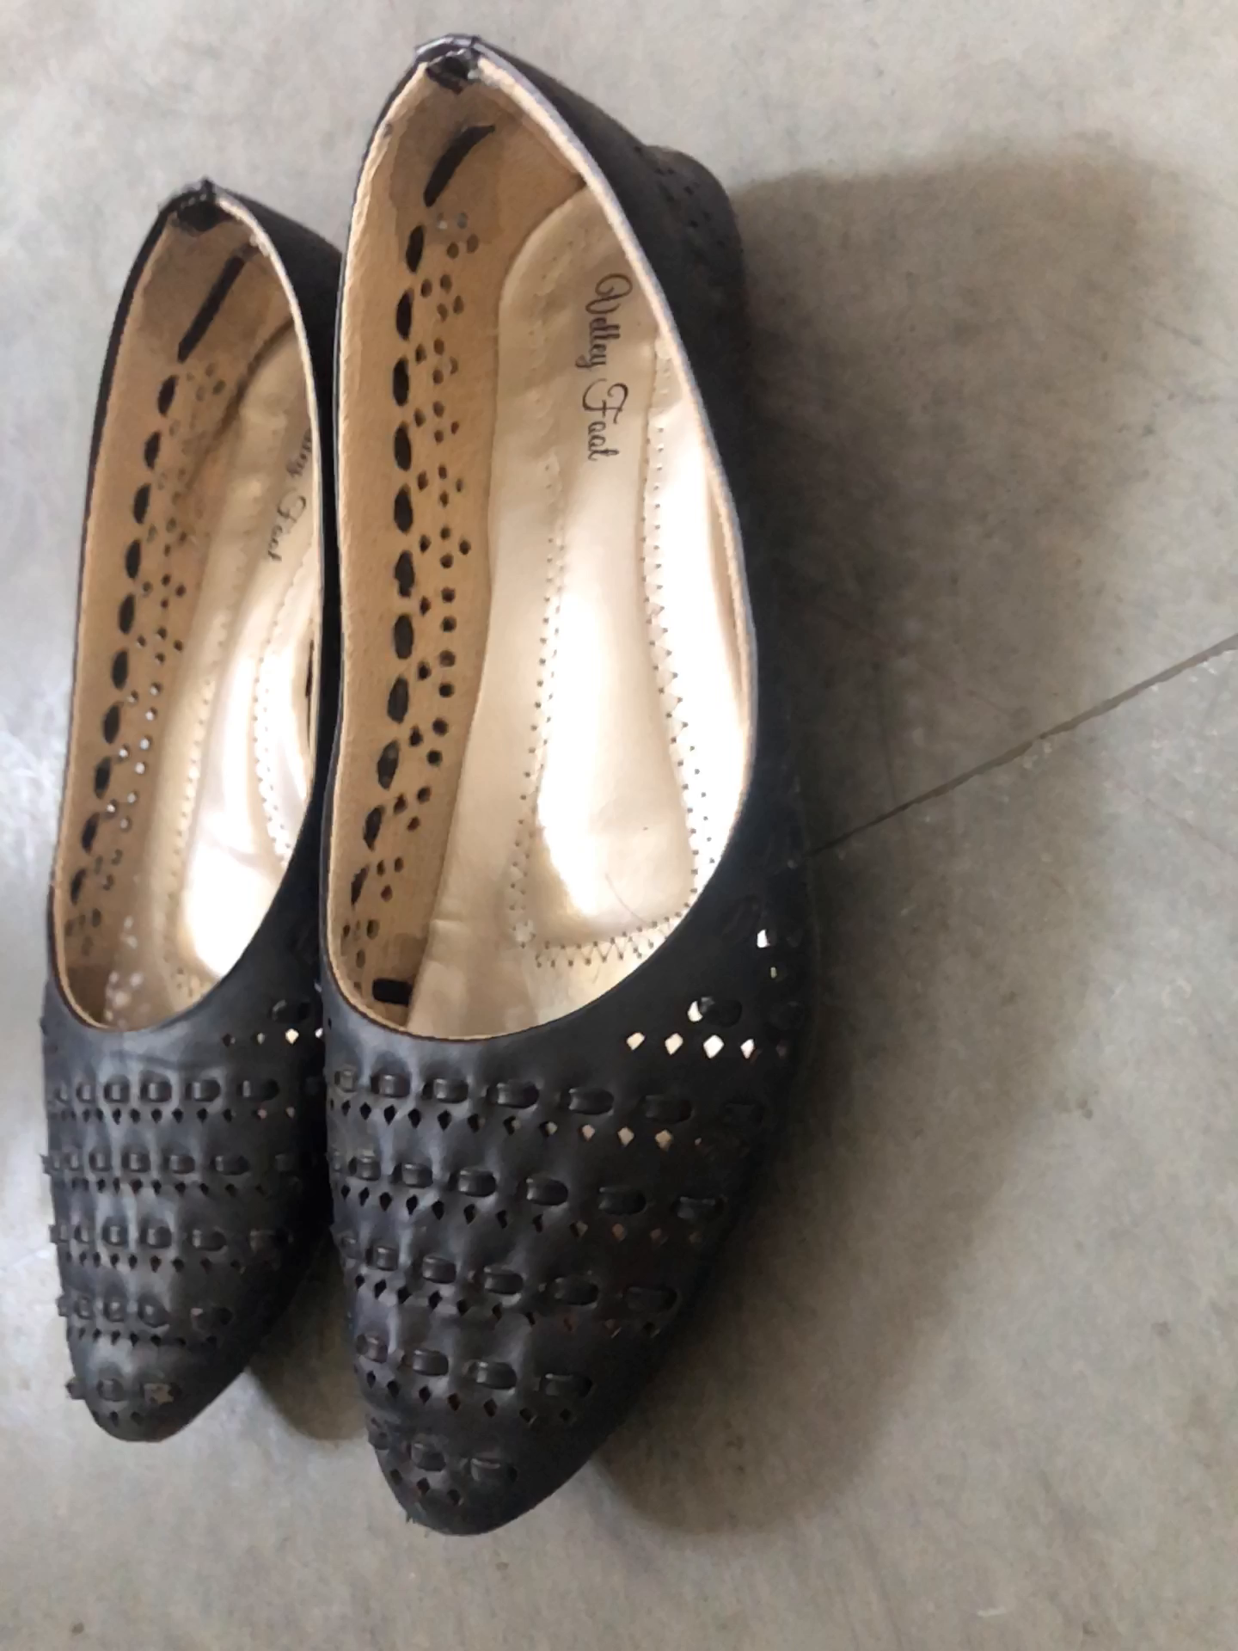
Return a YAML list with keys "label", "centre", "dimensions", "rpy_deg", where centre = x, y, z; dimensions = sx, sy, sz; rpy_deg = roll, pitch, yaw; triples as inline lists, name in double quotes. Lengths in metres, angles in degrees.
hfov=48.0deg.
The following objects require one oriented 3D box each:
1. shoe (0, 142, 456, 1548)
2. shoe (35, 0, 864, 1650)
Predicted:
- label: "shoe"
  centre: [-0.104, 0.000, 0.284]
  dimensions: [0.096, 0.062, 0.242]
  rpy_deg: [-4, 73, 34]
- label: "shoe"
  centre: [-0.019, -0.011, 0.234]
  dimensions: [0.096, 0.073, 0.242]
  rpy_deg: [-8, 72, 34]
